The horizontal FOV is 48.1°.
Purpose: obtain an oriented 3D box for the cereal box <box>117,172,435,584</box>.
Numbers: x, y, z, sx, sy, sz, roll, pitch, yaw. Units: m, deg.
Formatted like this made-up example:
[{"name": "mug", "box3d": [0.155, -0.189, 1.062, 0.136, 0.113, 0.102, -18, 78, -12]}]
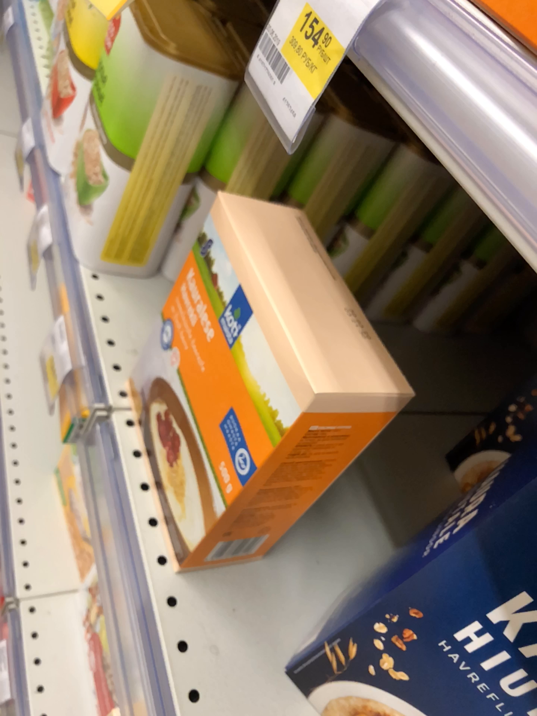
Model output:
[{"name": "cereal box", "box3d": [-0.016, 0.014, 0.358, 0.070, 0.169, 0.161, 3, 47, -34]}]
